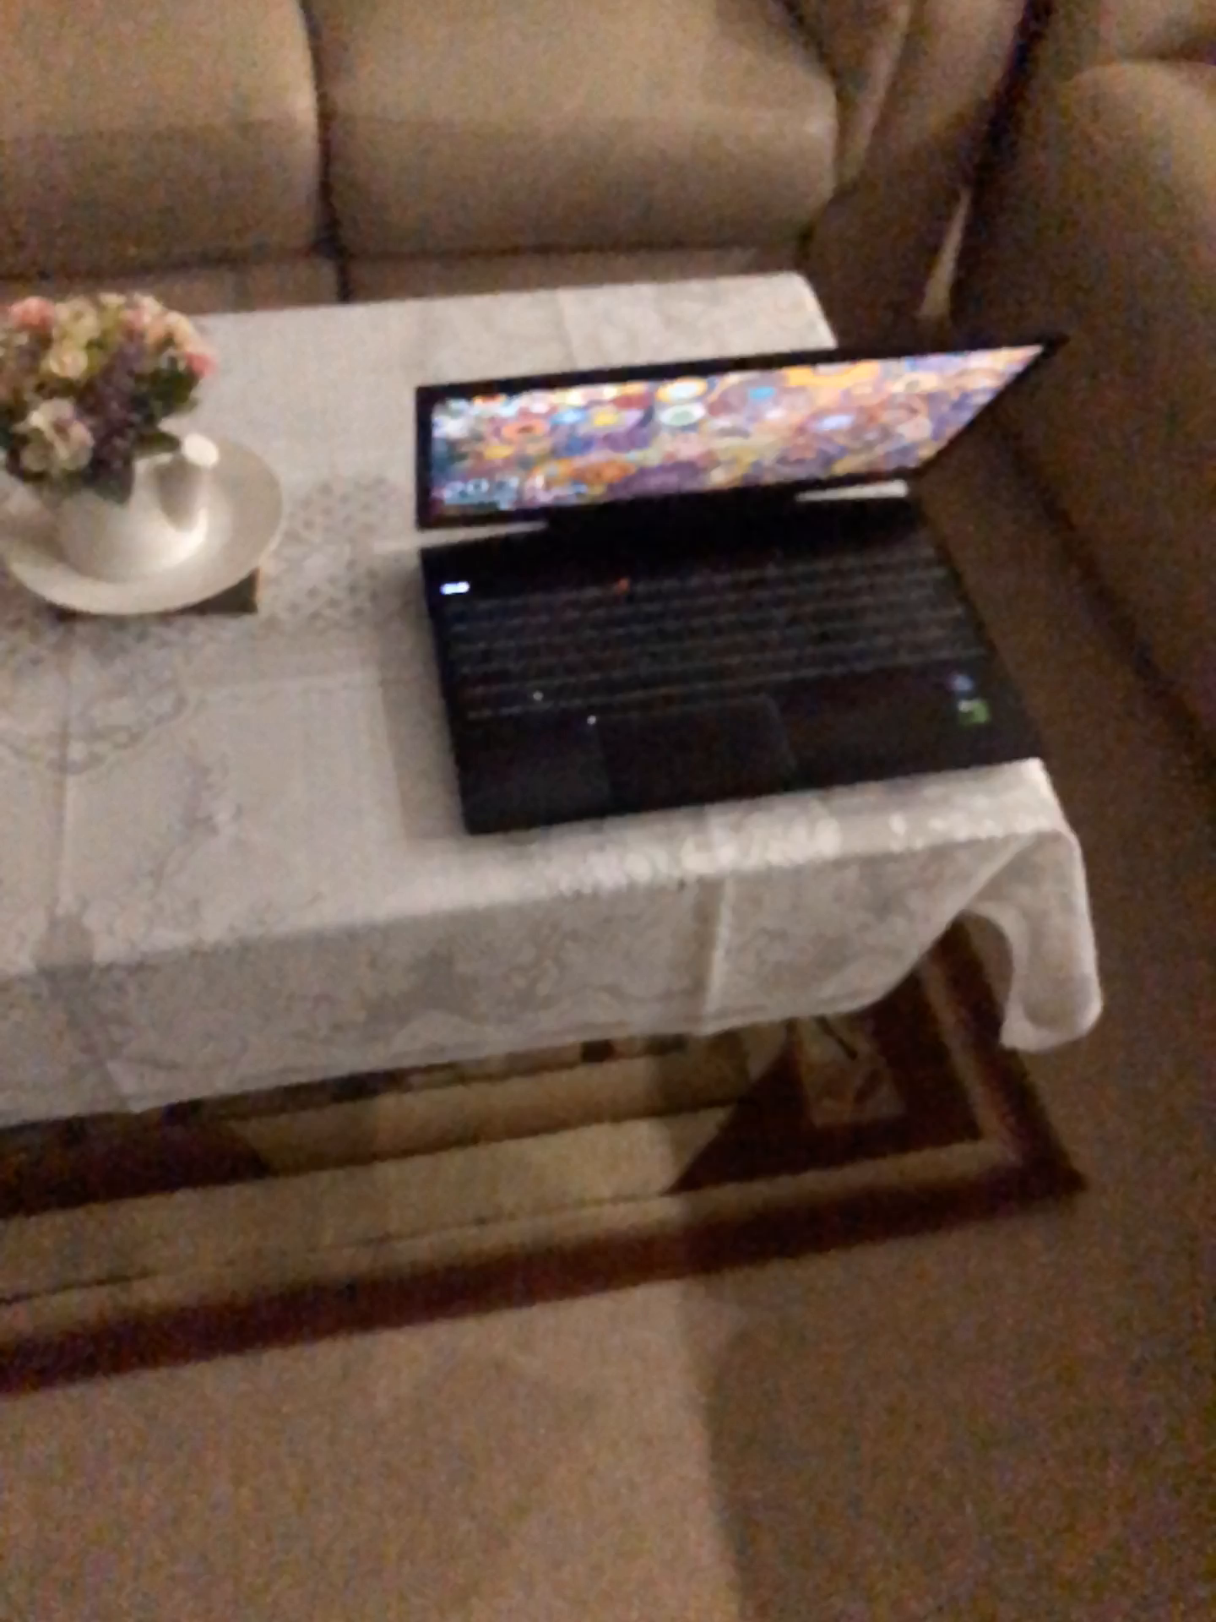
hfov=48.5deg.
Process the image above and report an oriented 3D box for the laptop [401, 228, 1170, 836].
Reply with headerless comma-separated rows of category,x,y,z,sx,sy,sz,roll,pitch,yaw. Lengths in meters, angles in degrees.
laptop,0.077,-0.168,0.789,0.355,0.199,0.243,-8,54,-9
